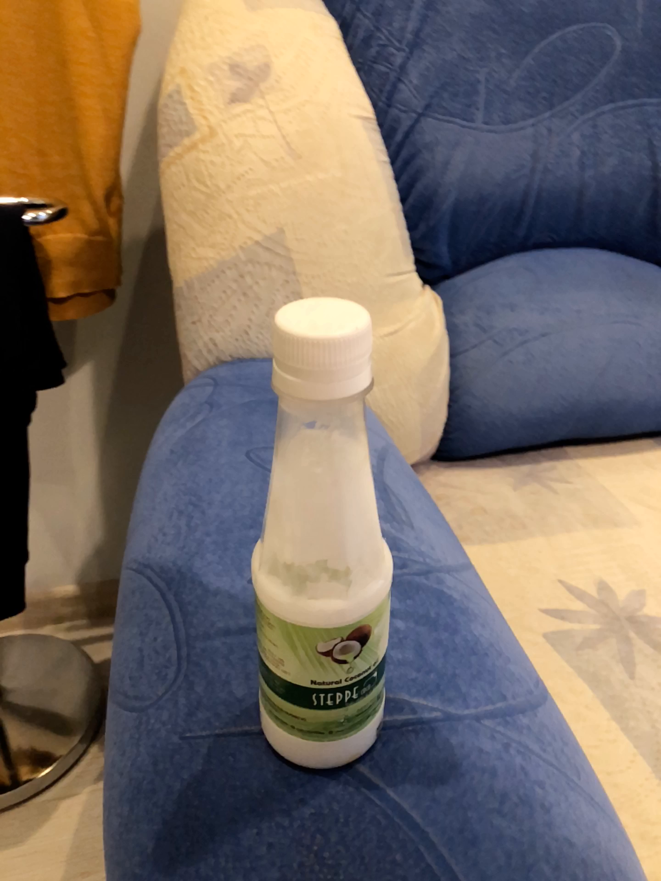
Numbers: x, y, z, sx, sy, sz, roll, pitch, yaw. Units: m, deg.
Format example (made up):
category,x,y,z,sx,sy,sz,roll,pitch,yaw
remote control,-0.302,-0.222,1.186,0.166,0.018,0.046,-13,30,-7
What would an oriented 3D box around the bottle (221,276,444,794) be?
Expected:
category,x,y,z,sx,sy,sz,roll,pitch,yaw
bottle,-0.003,0.040,0.264,0.050,0.183,0.054,1,31,-1
